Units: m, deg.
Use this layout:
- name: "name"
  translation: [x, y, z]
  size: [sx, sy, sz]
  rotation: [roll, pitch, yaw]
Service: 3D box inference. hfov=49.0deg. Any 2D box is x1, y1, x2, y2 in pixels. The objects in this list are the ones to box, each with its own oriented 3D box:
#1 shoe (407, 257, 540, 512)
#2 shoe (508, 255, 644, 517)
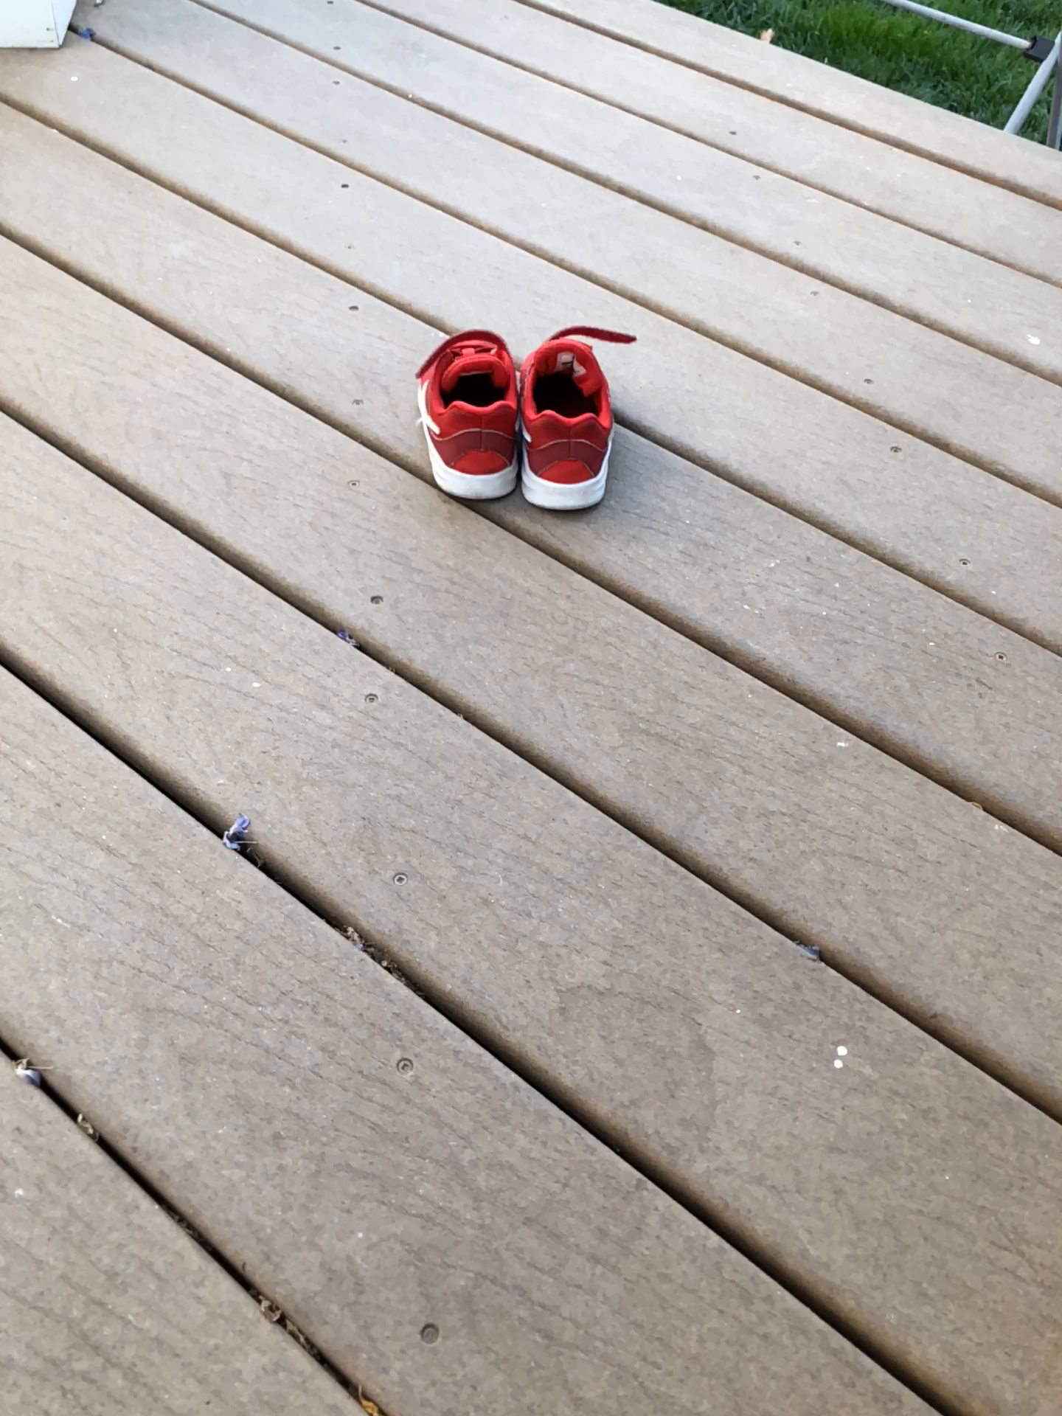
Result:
- name: "shoe"
  translation: [-0.044, -0.223, 0.796]
  size: [0.077, 0.087, 0.168]
  rotation: [-1, 50, -7]
- name: "shoe"
  translation: [0.028, -0.221, 0.792]
  size: [0.077, 0.087, 0.168]
  rotation: [3, 50, -3]
